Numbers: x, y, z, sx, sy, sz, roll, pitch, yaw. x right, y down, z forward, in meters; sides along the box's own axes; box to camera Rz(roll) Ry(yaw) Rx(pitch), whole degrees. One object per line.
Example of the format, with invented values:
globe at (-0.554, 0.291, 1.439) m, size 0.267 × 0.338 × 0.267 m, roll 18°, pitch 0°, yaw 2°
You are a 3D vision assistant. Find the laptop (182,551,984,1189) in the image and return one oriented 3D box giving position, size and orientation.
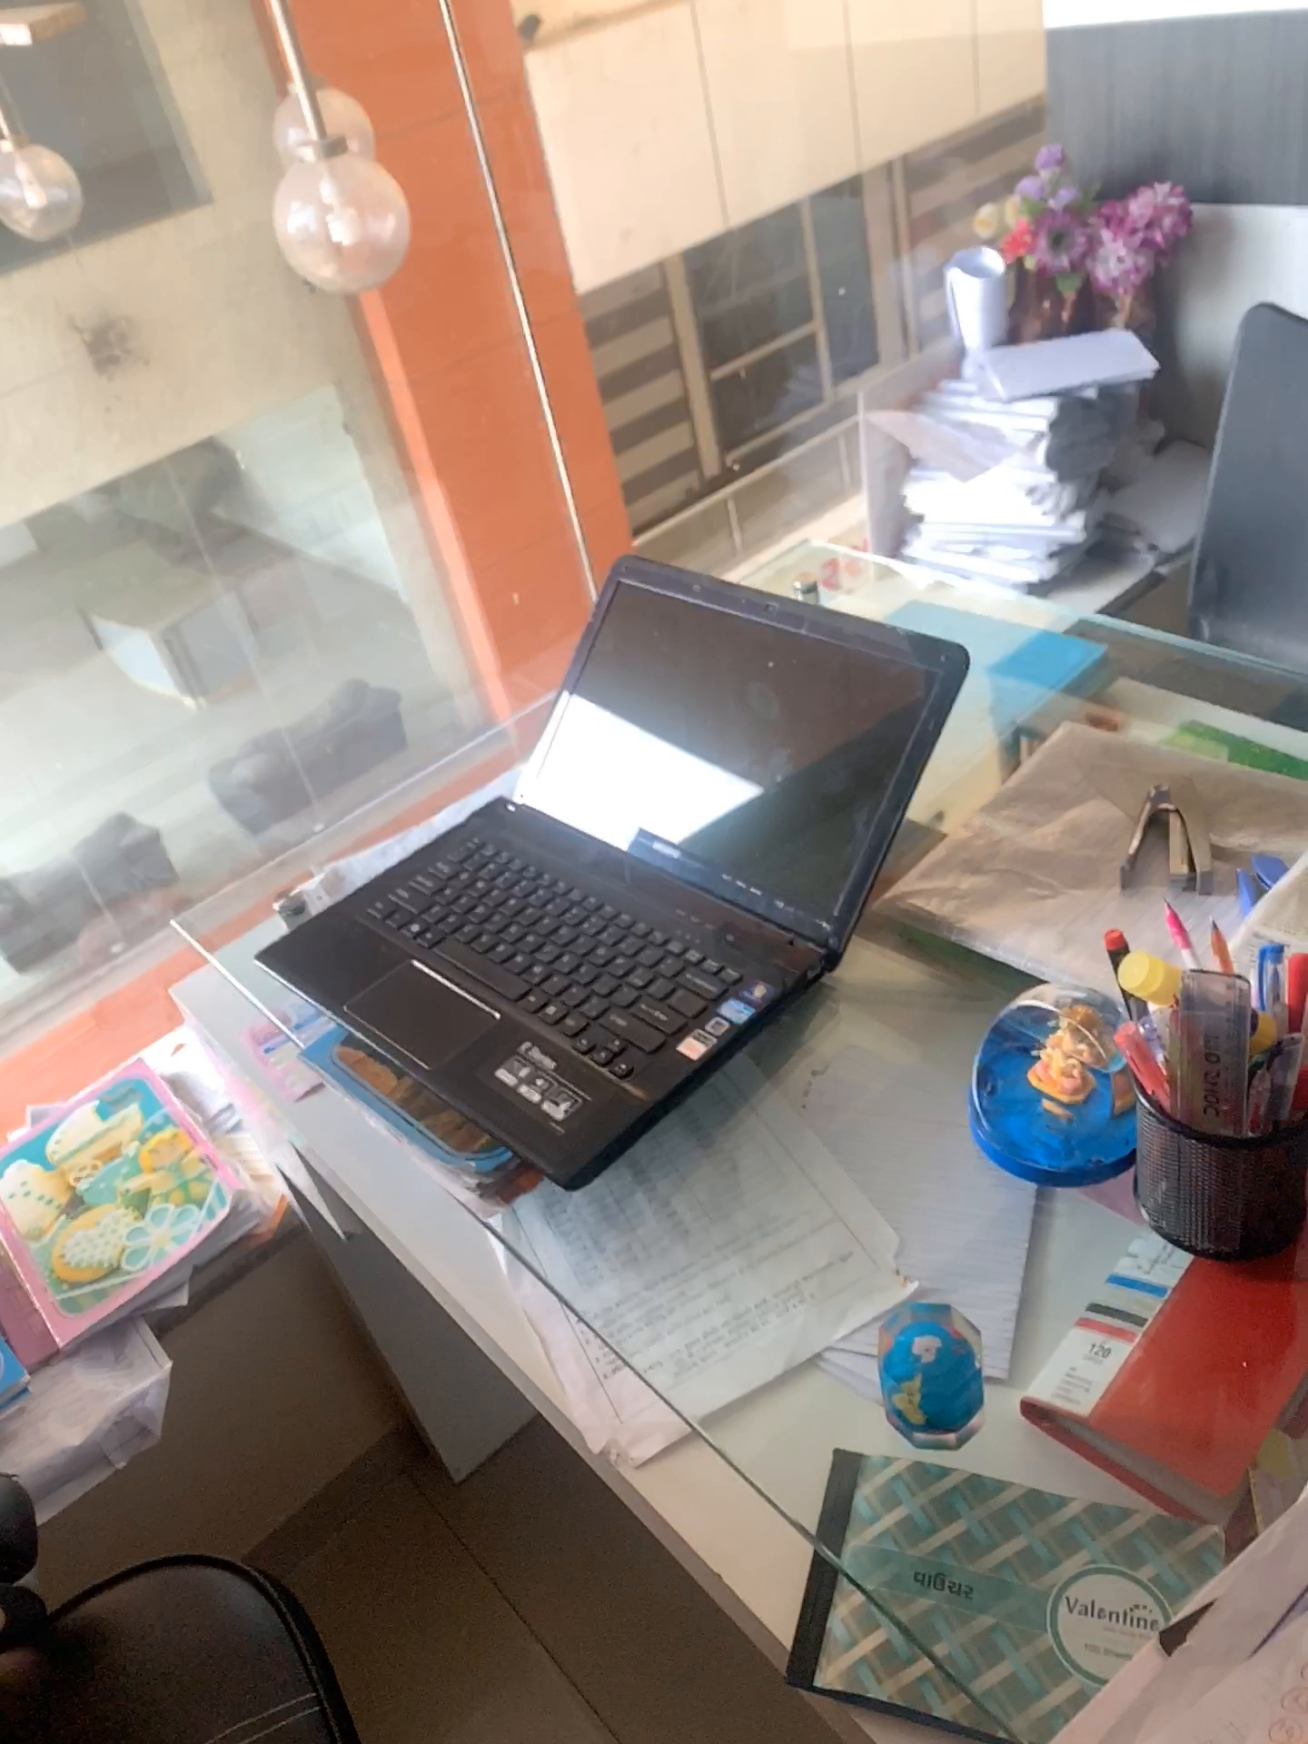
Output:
laptop at (-0.034, -0.034, 0.765) m, size 0.336 × 0.111 × 0.286 m, roll -37°, pitch 43°, yaw -29°
